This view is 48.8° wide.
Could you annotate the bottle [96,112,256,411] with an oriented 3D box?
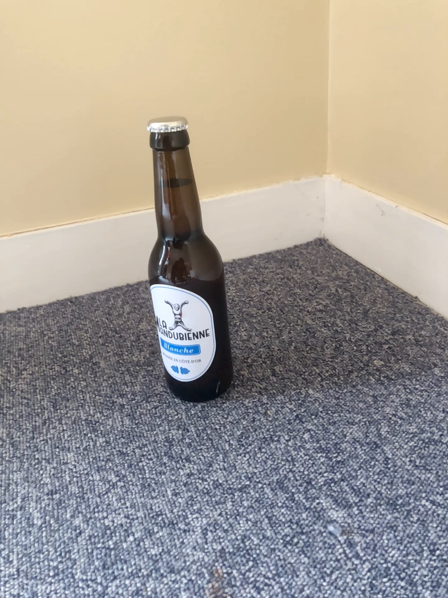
[{"bbox_3d":[-0.026,-0.025,0.376,0.070,0.209,0.070,-4,29,2],"label":"bottle"}]
